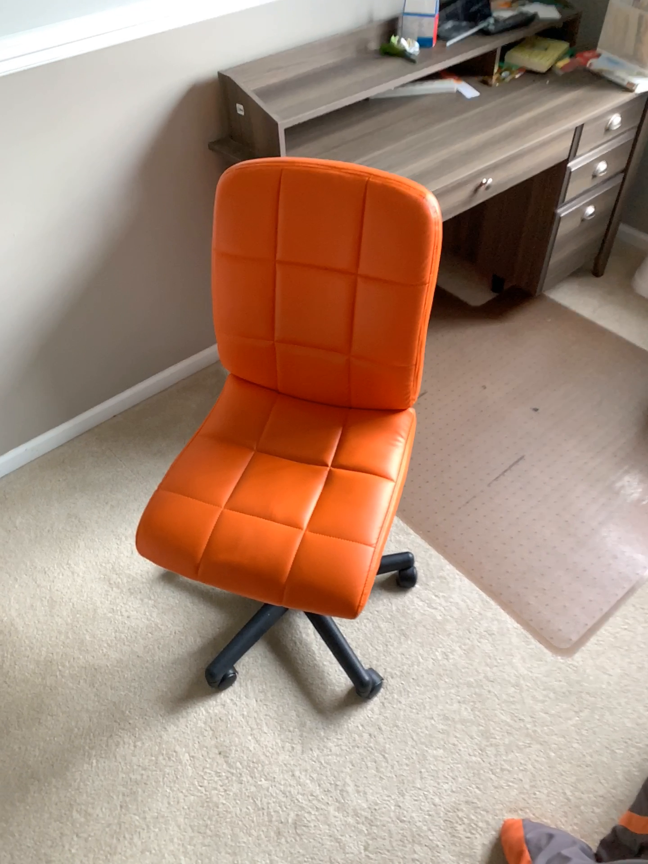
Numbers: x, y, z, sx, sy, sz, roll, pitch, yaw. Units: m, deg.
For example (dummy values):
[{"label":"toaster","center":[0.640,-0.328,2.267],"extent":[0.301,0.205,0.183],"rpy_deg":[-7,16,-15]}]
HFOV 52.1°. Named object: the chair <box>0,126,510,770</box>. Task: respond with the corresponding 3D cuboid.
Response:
[{"label":"chair","center":[-0.100,0.058,1.221],"extent":[0.593,0.905,0.603],"rpy_deg":[17,49,16]}]
